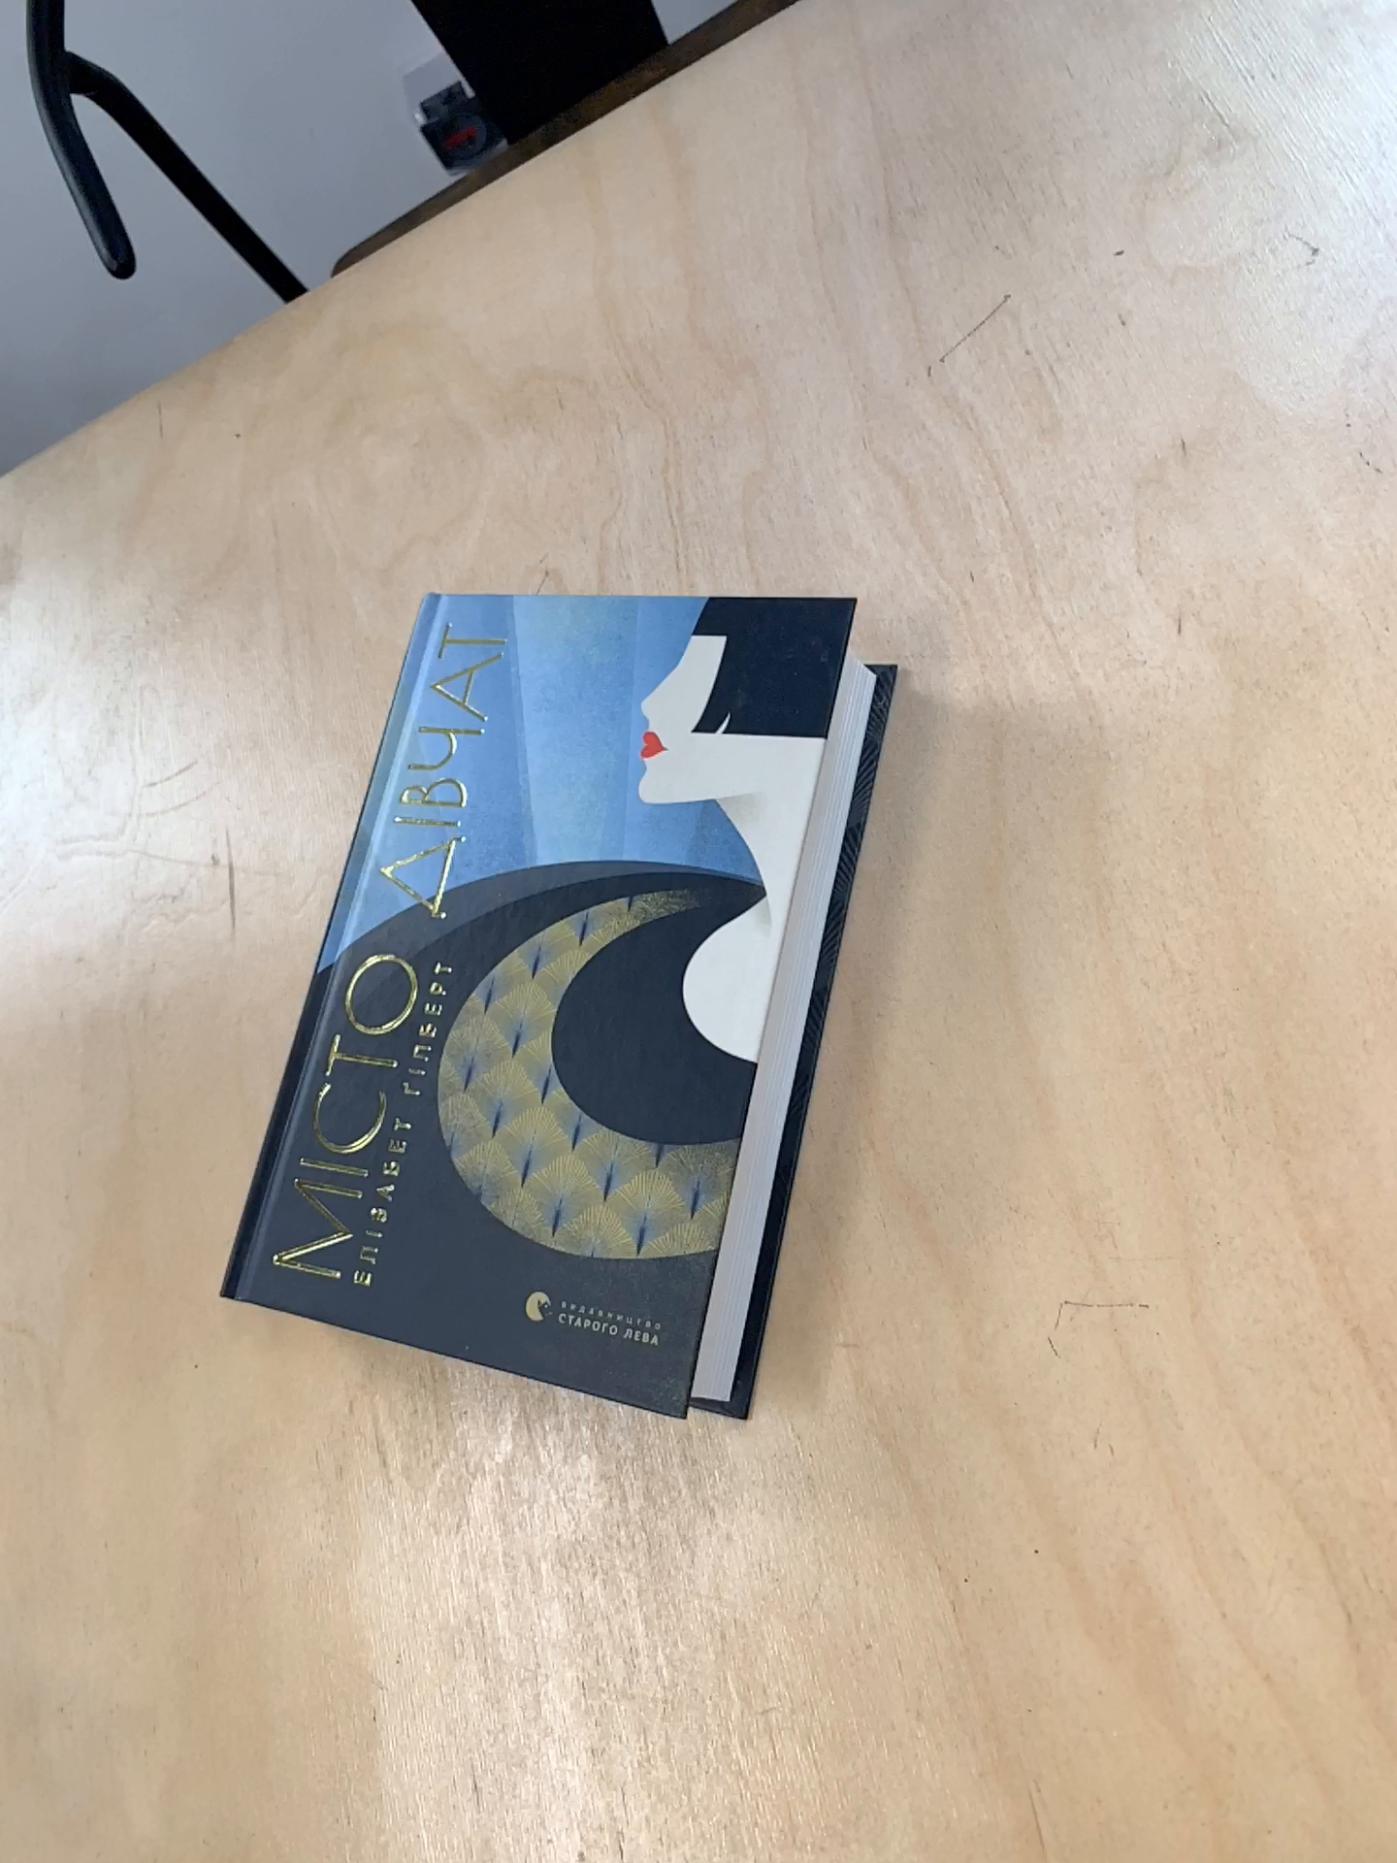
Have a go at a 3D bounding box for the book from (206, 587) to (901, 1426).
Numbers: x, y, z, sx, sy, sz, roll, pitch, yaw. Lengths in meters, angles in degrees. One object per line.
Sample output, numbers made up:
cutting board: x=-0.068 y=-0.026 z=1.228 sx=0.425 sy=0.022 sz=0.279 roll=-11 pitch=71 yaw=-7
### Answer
book: x=-0.035 y=0.010 z=0.373 sx=0.135 sy=0.043 sz=0.197 roll=6 pitch=76 yaw=26
